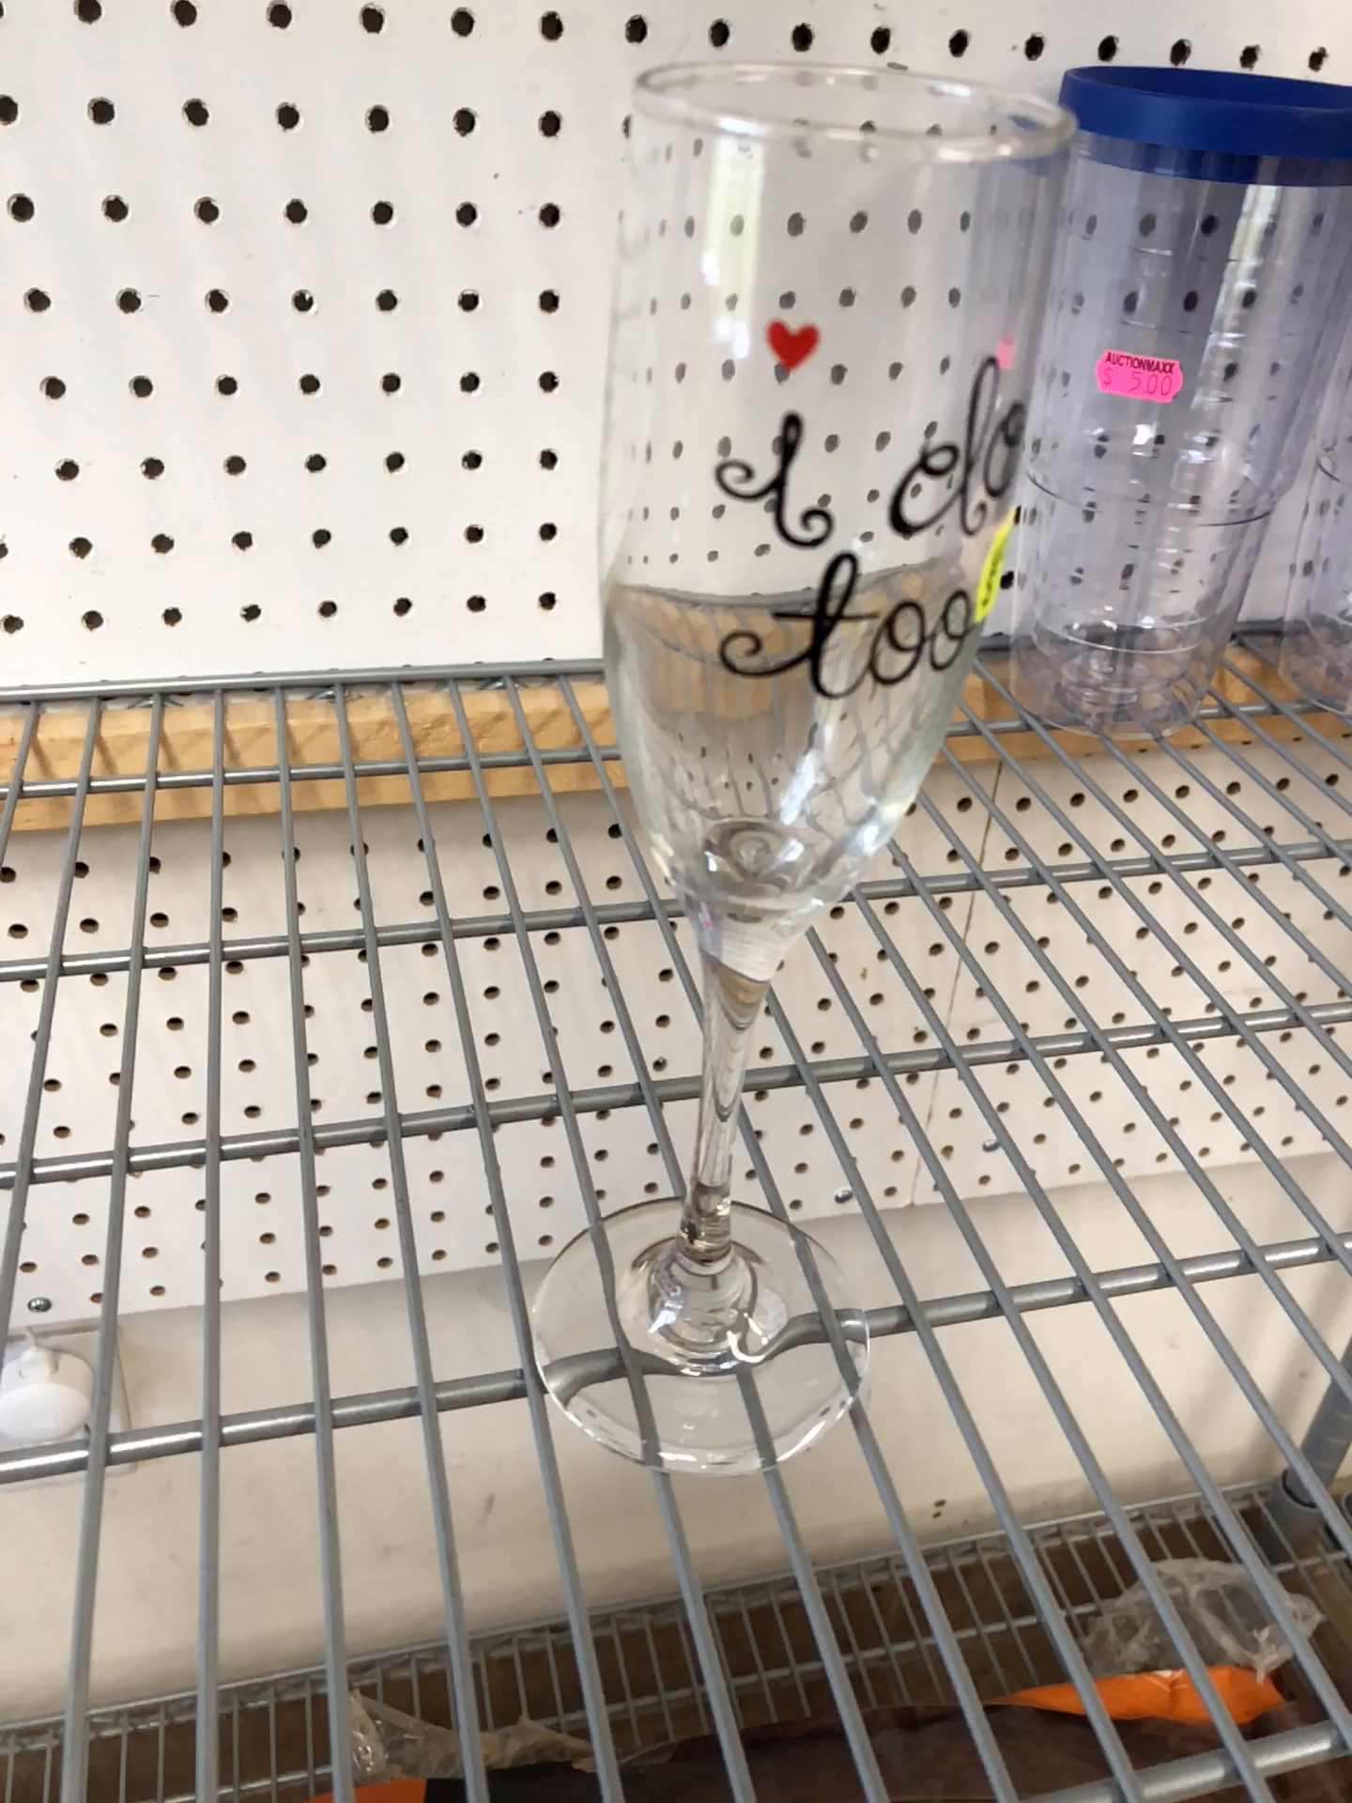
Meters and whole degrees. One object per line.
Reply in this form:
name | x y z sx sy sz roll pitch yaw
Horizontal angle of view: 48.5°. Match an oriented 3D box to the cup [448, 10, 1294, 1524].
cup | 0.012 -0.009 0.227 0.070 0.209 0.070 3 34 -2
